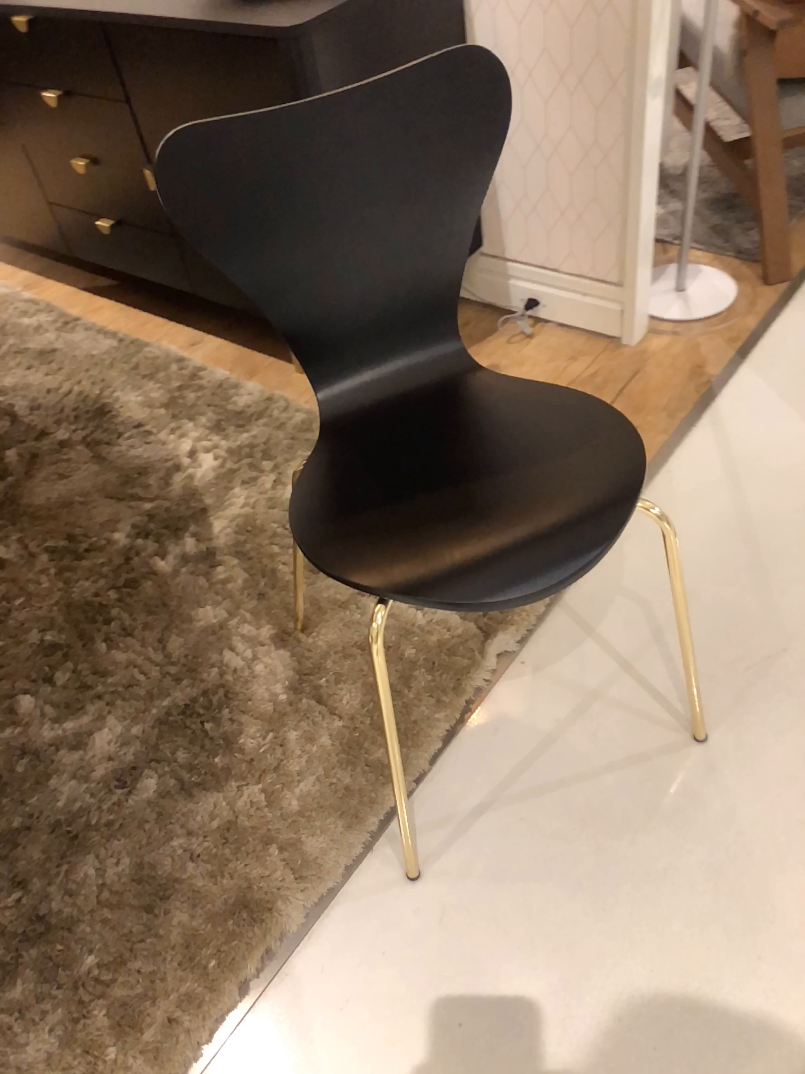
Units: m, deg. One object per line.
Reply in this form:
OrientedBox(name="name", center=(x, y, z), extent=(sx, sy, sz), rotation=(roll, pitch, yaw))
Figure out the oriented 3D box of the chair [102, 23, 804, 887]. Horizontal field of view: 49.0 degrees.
OrientedBox(name="chair", center=(0.064, -0.078, 1.053), extent=(0.500, 0.754, 0.503), rotation=(-22, 45, -11))
